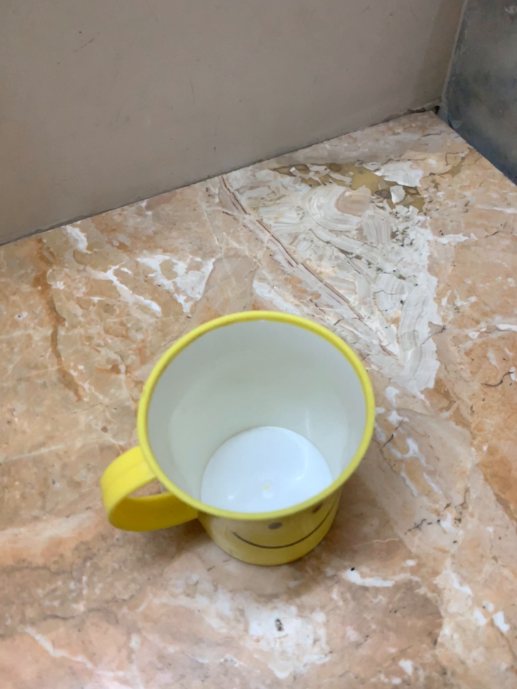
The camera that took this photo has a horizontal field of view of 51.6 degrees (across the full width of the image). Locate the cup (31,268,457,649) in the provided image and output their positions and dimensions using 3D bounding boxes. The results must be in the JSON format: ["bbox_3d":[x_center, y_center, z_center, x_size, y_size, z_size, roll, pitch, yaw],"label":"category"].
[{"bbox_3d":[-0.005,0.045,0.198,0.110,0.089,0.070,-23,57,-12],"label":"cup"}]
